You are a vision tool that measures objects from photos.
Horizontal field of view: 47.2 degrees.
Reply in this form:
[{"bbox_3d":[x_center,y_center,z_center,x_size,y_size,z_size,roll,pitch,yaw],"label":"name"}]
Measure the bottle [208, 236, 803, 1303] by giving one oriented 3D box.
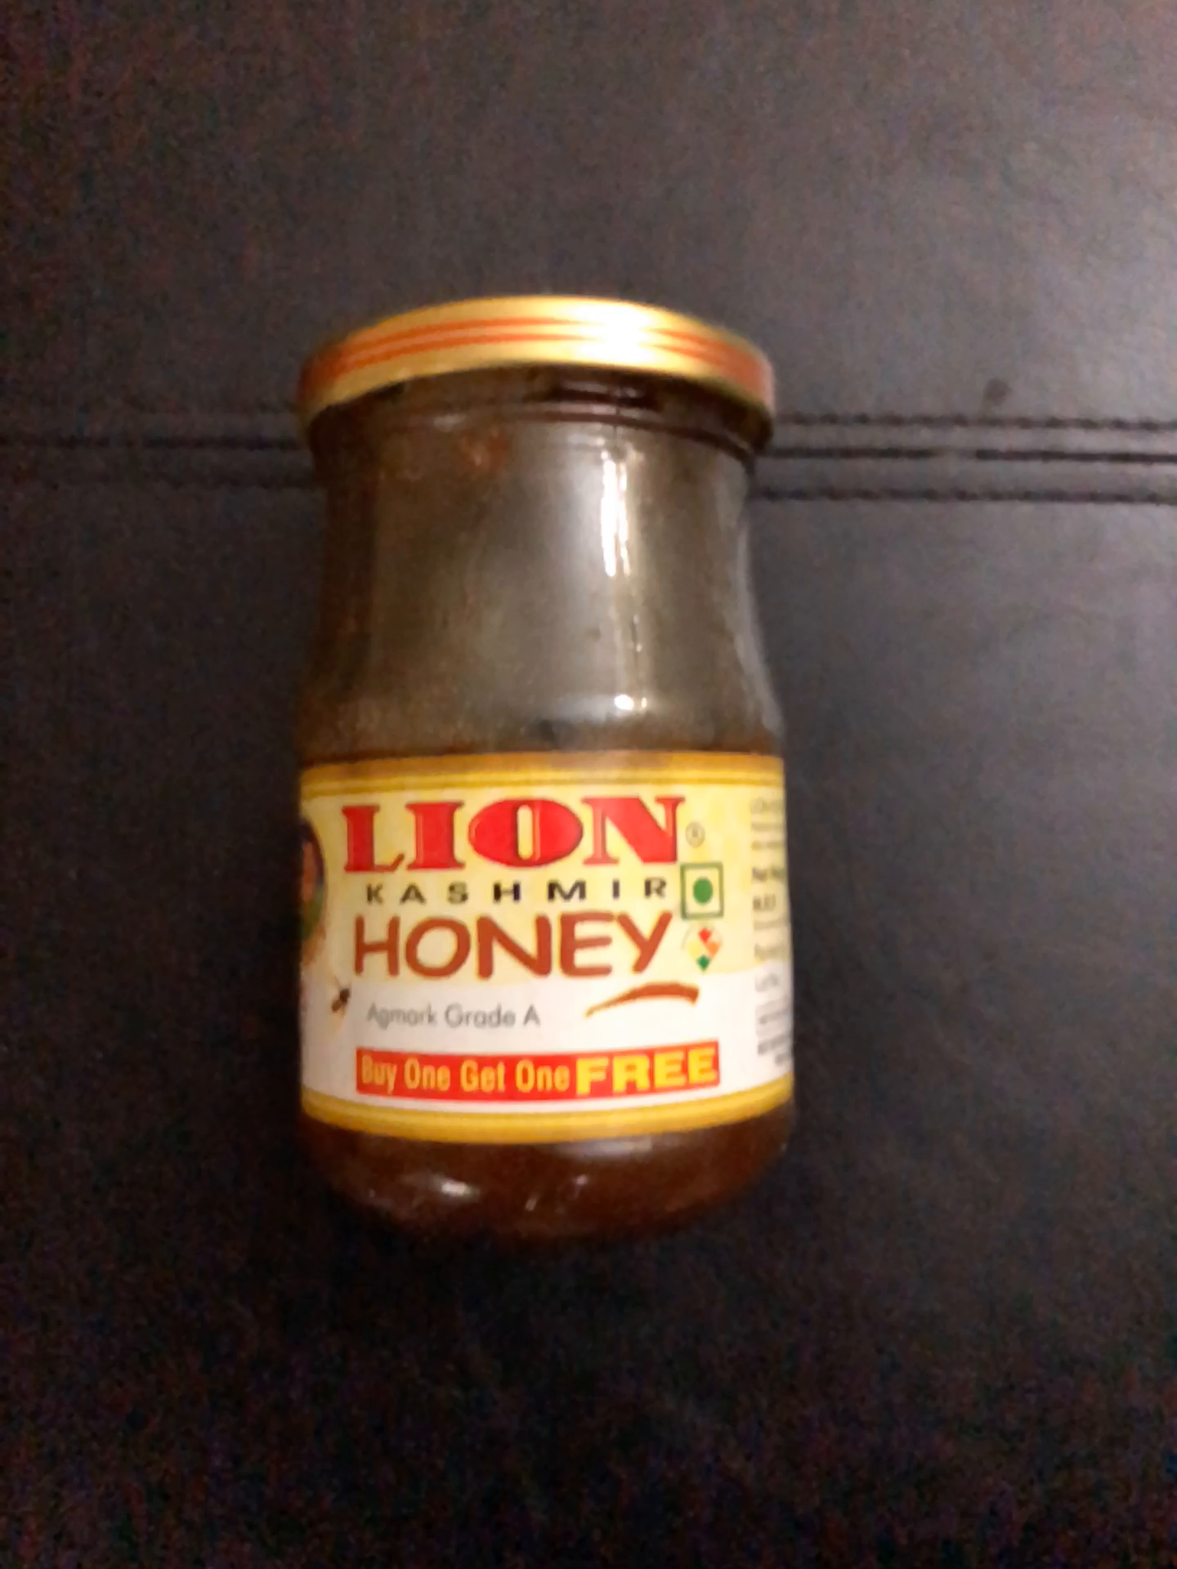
[{"bbox_3d":[-0.008,-0.001,0.166,0.060,0.059,0.108,0,90,0],"label":"bottle"}]
